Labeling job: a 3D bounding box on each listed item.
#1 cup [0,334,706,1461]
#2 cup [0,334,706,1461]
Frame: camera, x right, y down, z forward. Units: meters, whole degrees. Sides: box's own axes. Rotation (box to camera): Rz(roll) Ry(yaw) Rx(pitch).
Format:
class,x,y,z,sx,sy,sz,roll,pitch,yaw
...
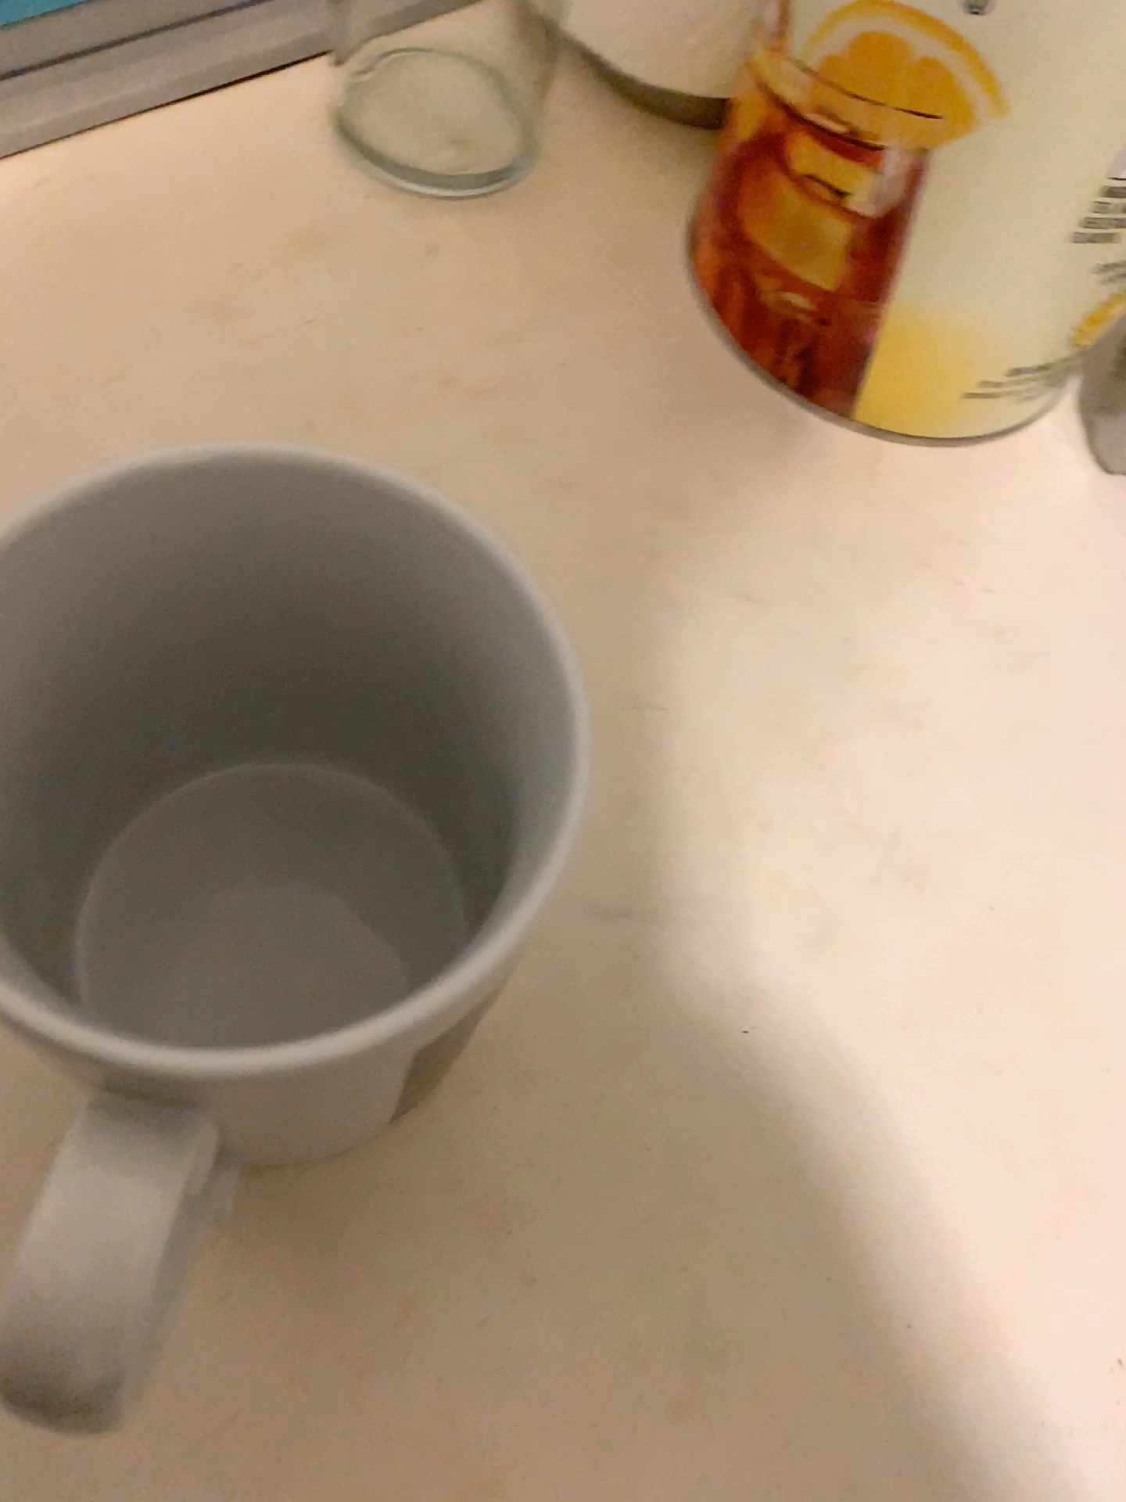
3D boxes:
class,x,y,z,sx,sy,sz,roll,pitch,yaw
cup,-0.045,0.030,0.194,0.100,0.110,0.130,12,63,-6
cup,-0.045,0.030,0.194,0.100,0.110,0.130,12,63,-6
